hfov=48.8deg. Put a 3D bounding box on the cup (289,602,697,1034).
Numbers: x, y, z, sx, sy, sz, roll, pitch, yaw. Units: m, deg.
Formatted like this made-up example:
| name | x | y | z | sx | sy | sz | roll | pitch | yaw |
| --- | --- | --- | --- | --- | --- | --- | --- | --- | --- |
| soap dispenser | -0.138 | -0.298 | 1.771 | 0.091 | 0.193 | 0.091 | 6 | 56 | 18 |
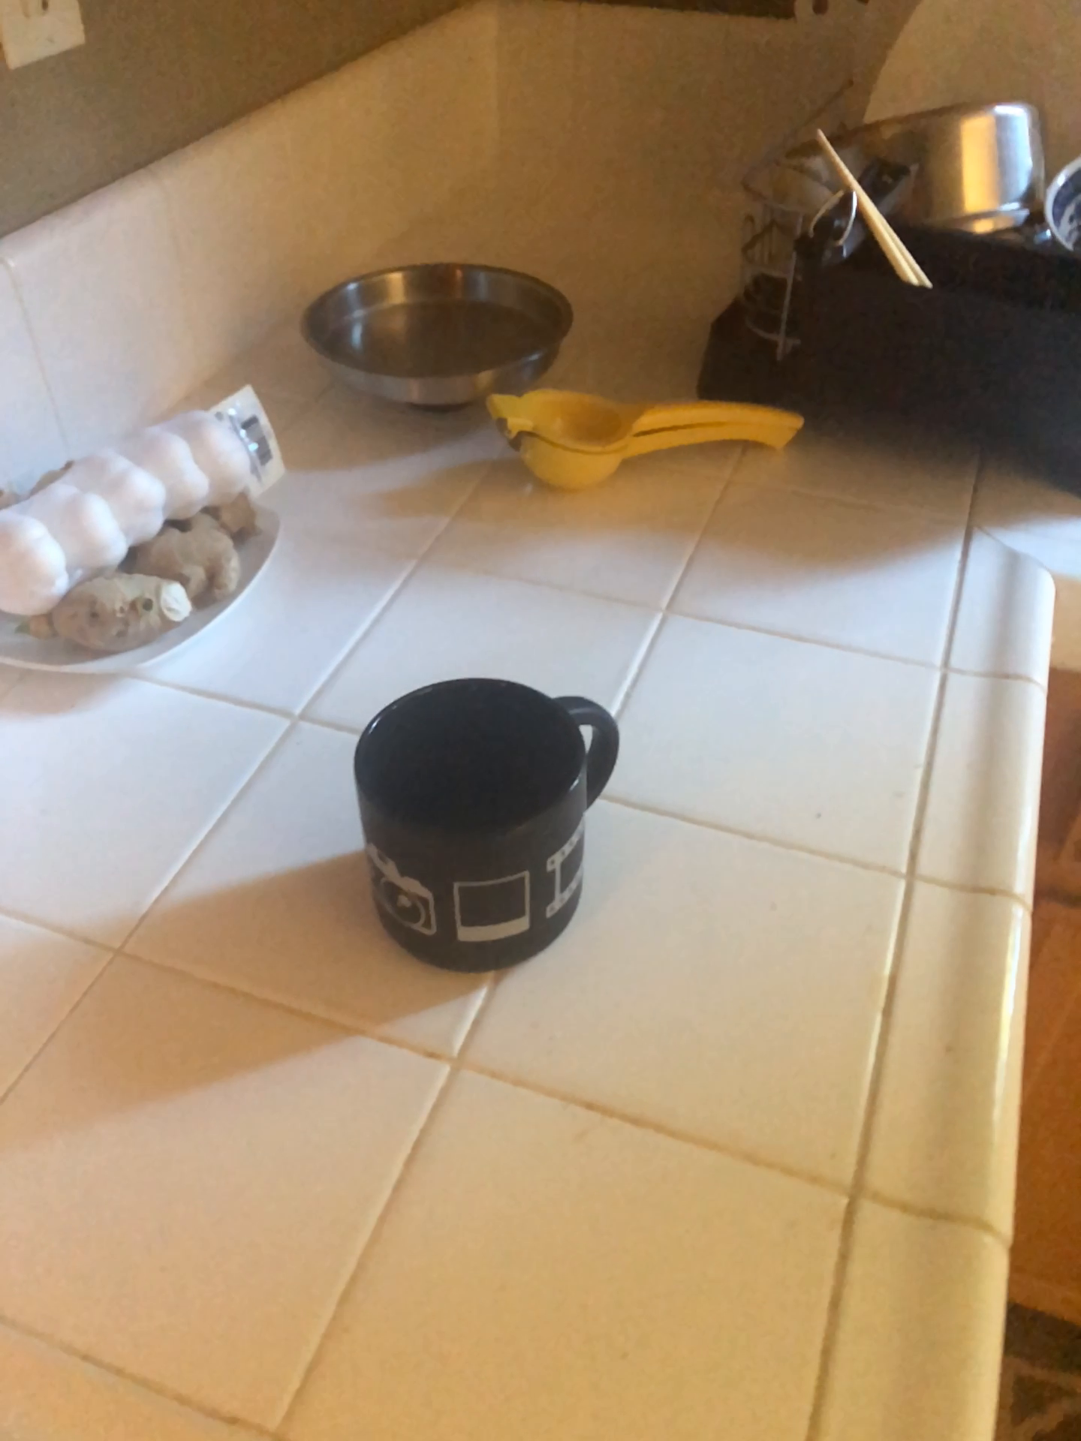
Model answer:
| name | x | y | z | sx | sy | sz | roll | pitch | yaw |
| --- | --- | --- | --- | --- | --- | --- | --- | --- | --- |
| cup | -0.017 | 0.035 | 0.486 | 0.090 | 0.089 | 0.131 | 34 | 51 | 31 |
